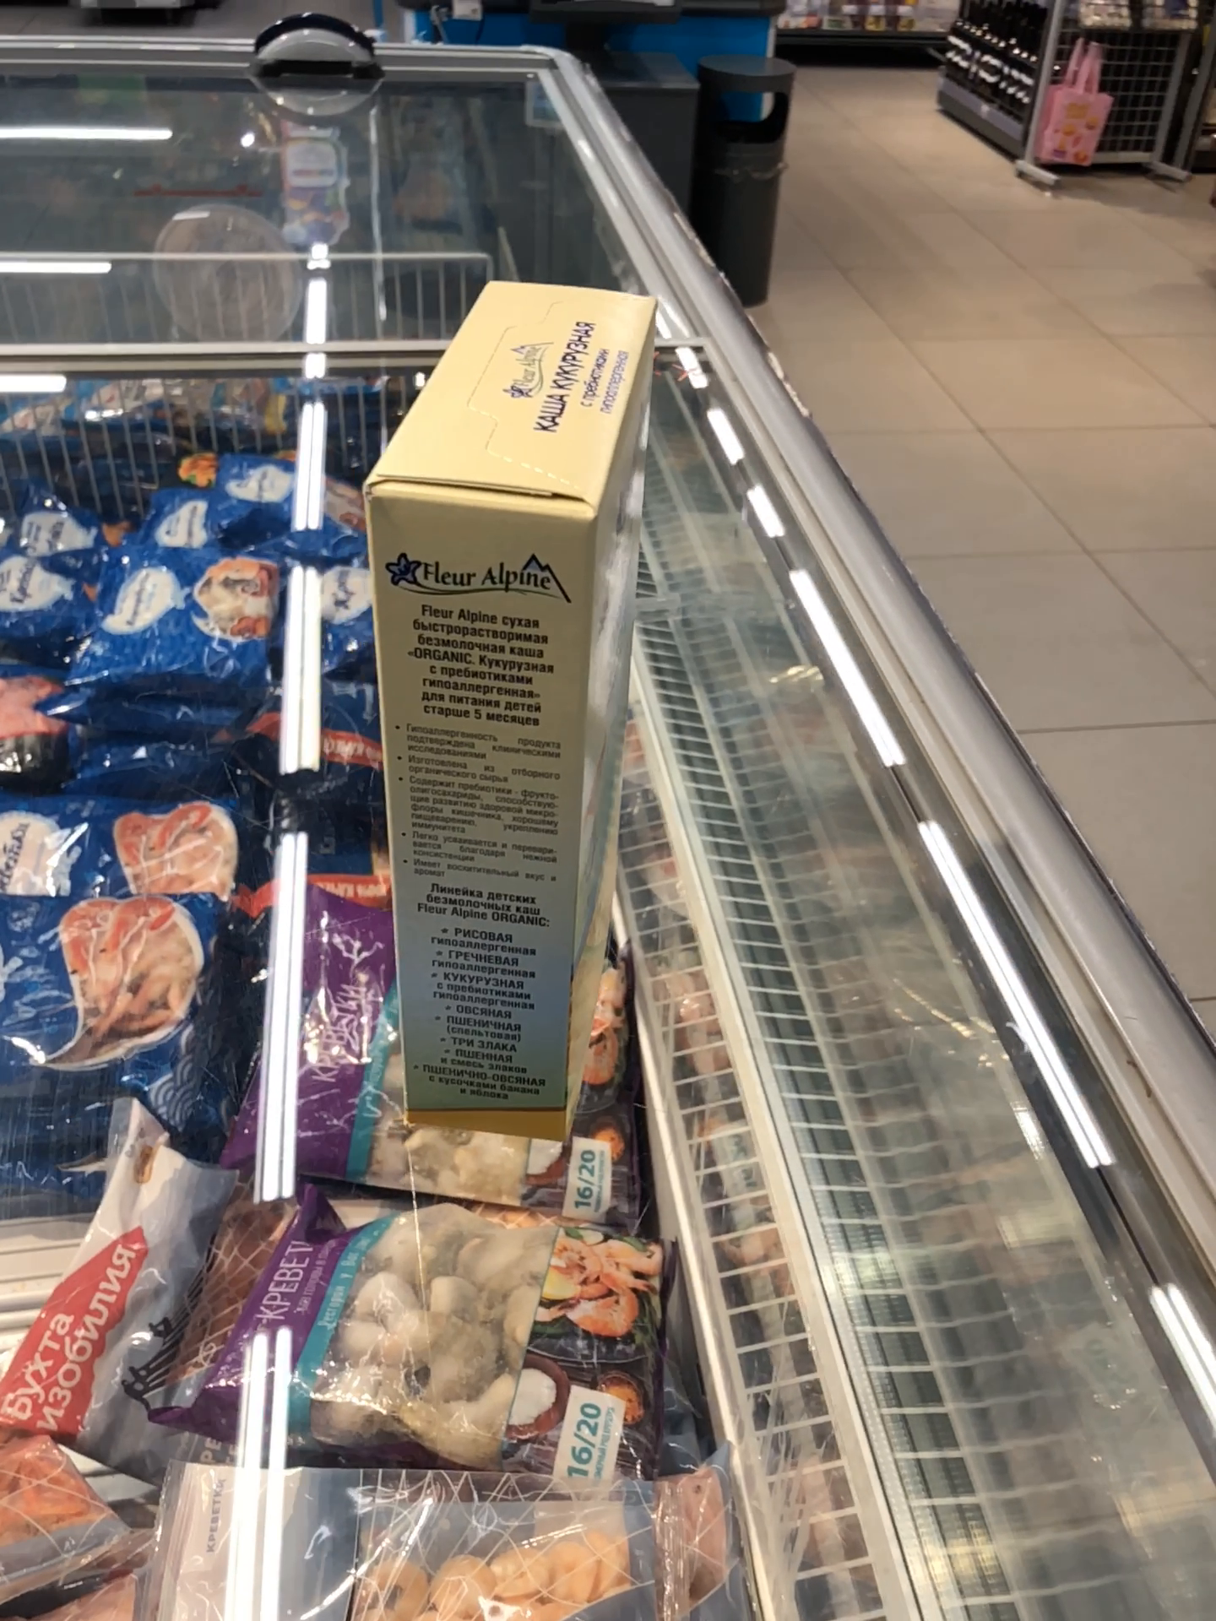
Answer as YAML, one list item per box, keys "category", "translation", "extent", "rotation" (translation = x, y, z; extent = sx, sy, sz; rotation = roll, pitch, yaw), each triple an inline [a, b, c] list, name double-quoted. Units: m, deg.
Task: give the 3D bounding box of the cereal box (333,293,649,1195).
- category: "cereal box"
  translation: [-0.025, -0.014, 0.372]
  extent: [0.050, 0.209, 0.131]
  rotation: [6, 38, 3]
